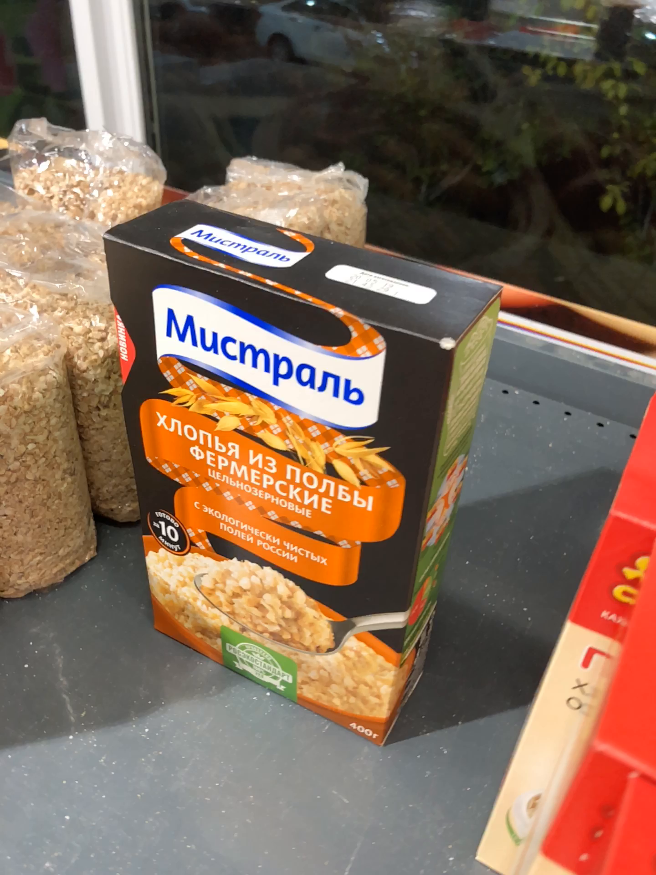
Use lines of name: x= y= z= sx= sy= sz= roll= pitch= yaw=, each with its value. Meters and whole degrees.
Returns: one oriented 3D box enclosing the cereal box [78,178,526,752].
cereal box: x=-0.016 y=0.019 z=0.300 sx=0.140 sy=0.209 sz=0.050 roll=20 pitch=40 yaw=21
